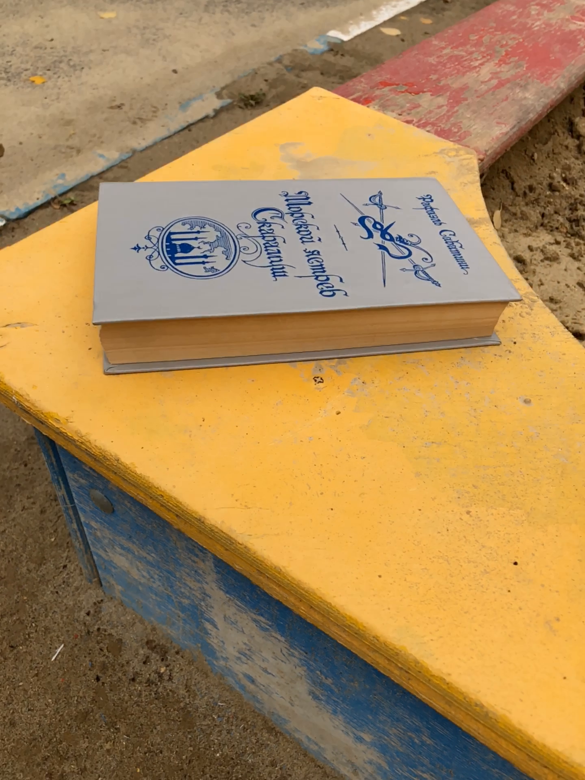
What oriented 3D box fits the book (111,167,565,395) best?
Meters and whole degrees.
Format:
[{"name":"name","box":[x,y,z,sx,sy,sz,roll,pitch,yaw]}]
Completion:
[{"name":"book","box":[0.014,-0.068,0.351,0.210,0.037,0.136,-5,46,-9]}]
